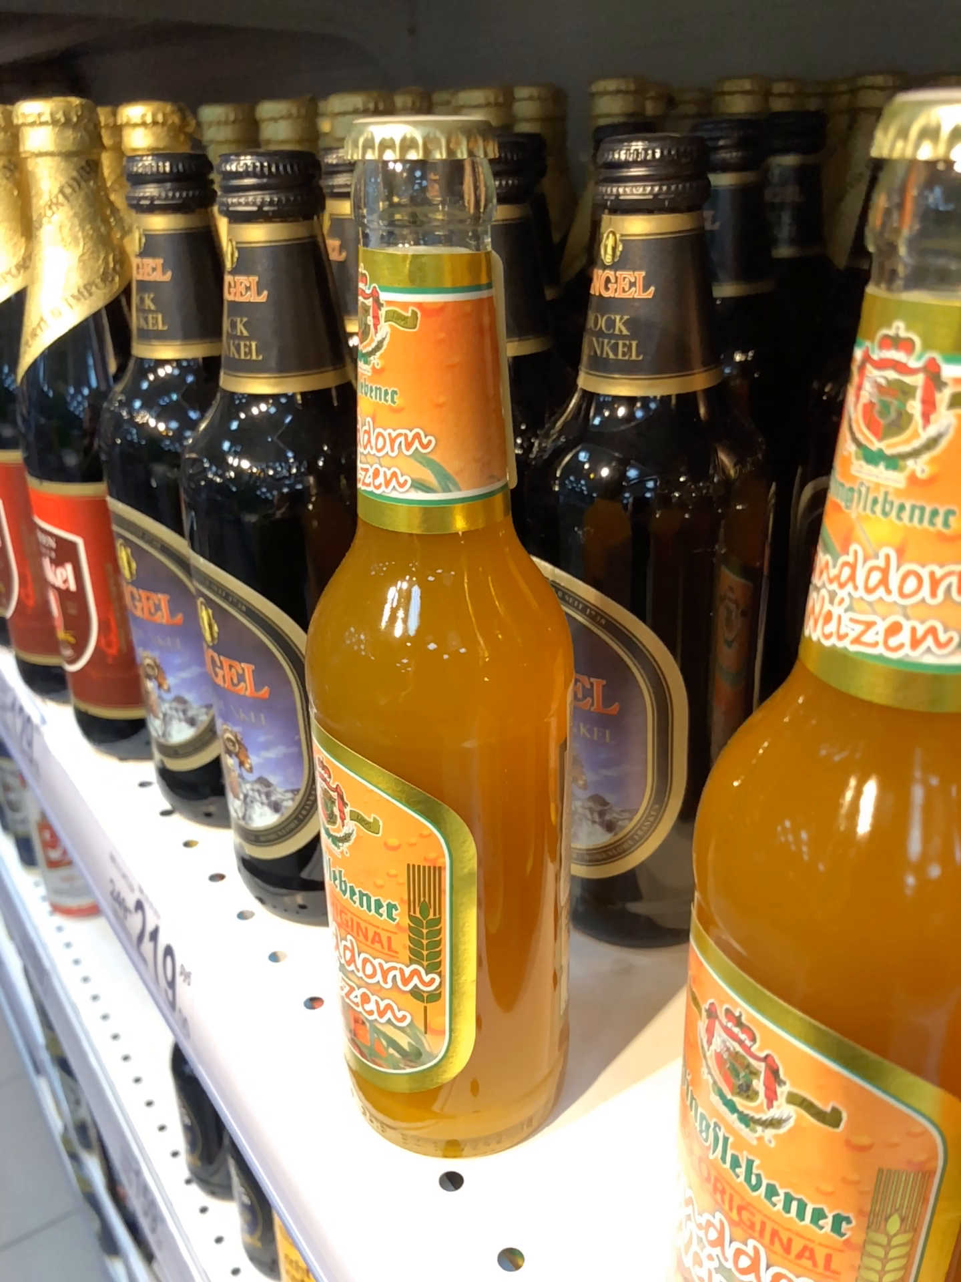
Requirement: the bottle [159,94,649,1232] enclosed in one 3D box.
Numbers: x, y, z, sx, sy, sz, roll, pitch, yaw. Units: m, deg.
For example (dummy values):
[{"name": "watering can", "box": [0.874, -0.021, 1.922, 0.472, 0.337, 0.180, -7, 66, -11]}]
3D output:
[{"name": "bottle", "box": [-0.012, 0.010, 0.232, 0.060, 0.225, 0.070, -15, 28, -26]}]
